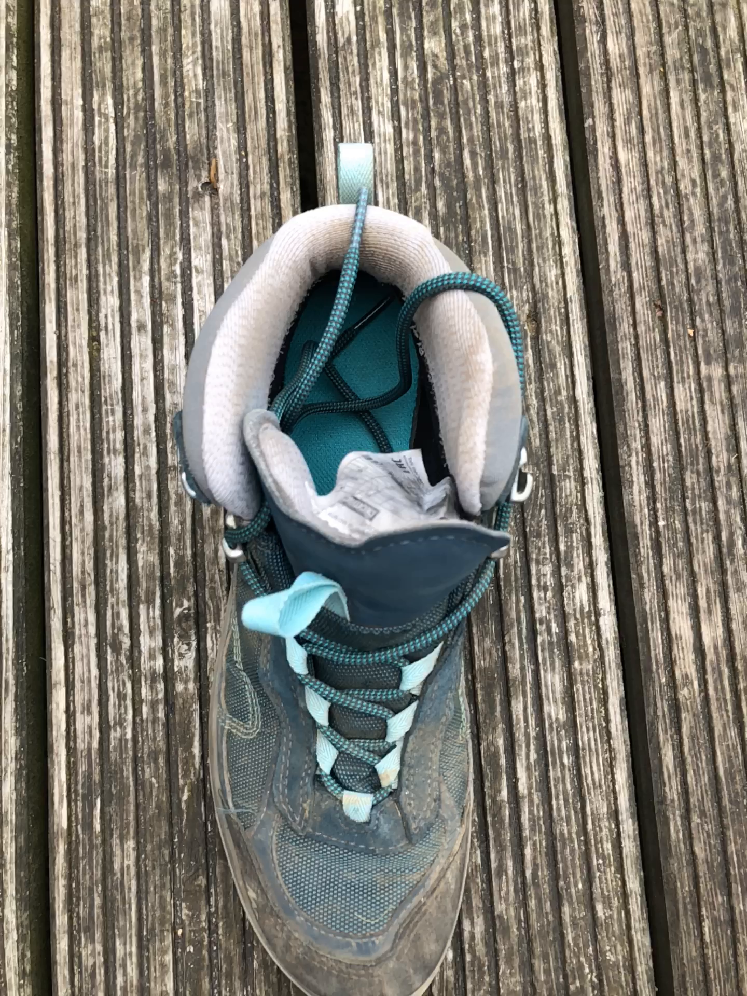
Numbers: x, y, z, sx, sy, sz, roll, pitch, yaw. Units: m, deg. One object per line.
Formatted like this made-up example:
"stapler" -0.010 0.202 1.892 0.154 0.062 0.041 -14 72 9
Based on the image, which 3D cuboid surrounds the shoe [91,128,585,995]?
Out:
"shoe" -0.014 0.042 0.276 0.120 0.120 0.280 -2 83 -2
